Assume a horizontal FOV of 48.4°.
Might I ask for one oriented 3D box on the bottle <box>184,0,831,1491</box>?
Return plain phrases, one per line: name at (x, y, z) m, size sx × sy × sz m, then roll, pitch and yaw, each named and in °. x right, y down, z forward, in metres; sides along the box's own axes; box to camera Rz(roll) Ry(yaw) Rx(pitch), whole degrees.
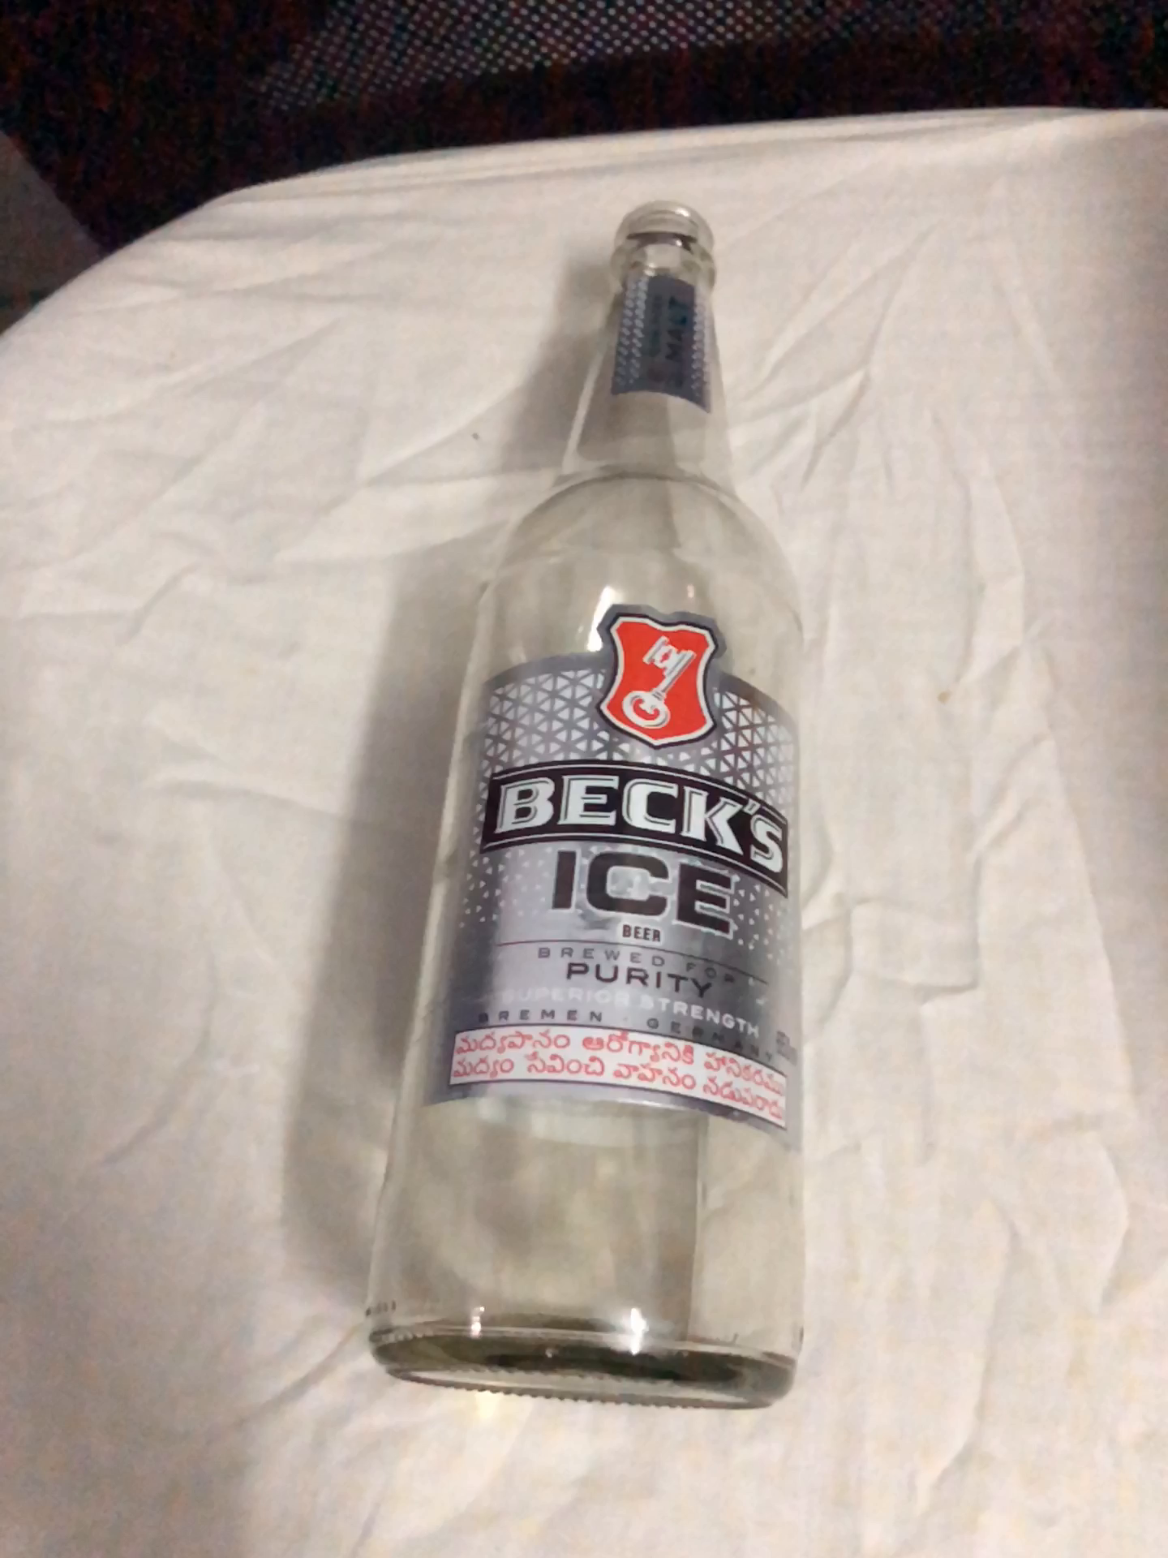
bottle at (0.002, -0.032, 0.247) m, size 0.080 × 0.080 × 0.280 m, roll 0°, pitch 68°, yaw 9°
